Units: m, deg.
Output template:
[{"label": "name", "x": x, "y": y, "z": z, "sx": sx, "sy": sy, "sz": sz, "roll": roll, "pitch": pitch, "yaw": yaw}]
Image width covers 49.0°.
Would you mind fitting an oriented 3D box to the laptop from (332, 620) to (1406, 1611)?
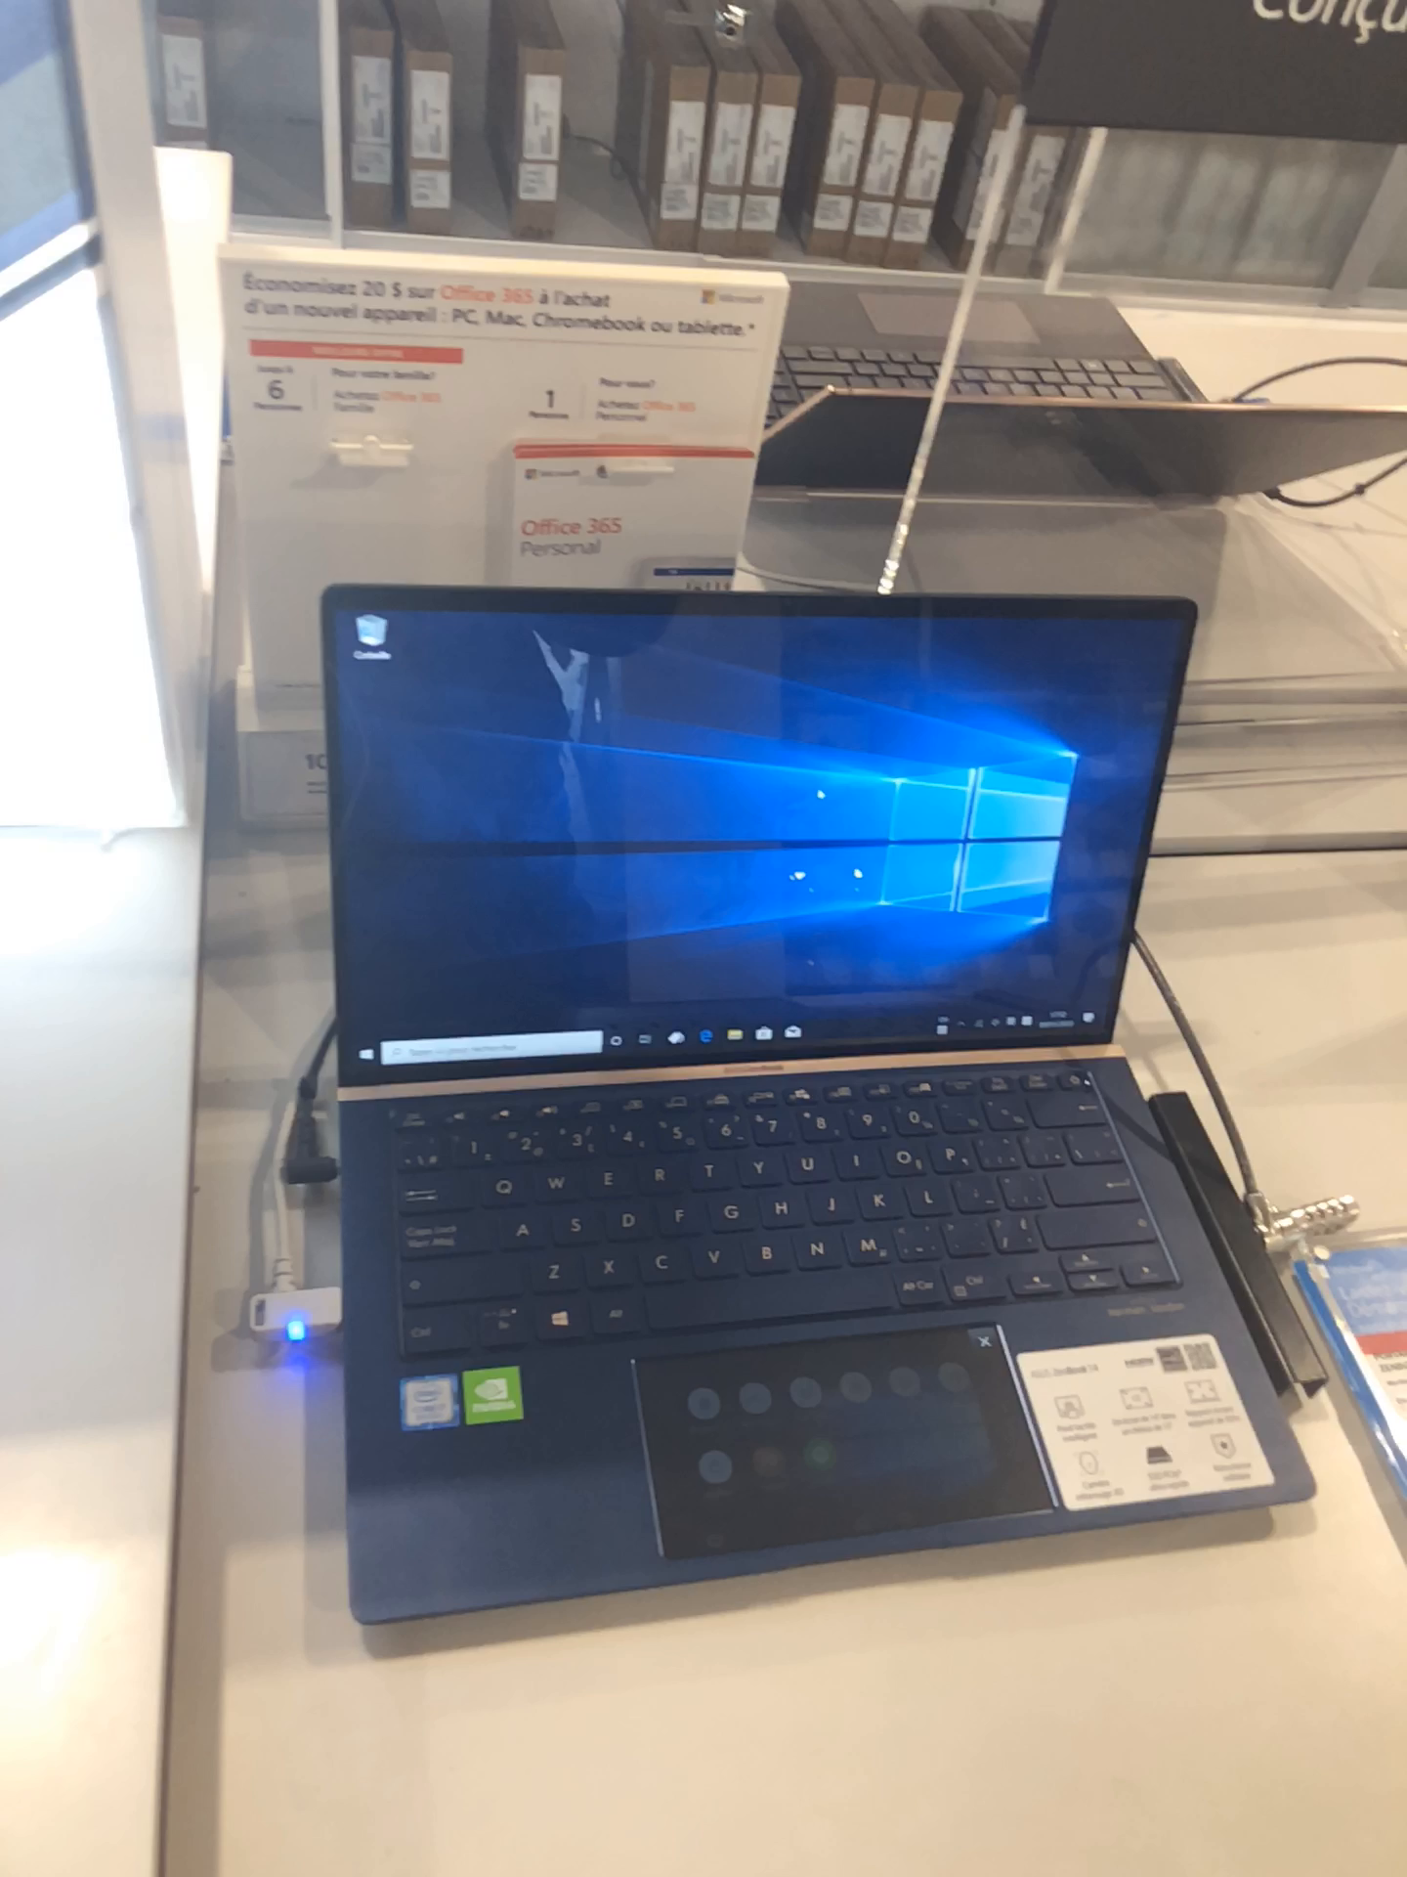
[{"label": "laptop", "x": 0.042, "y": 0.041, "z": 0.506, "sx": 0.309, "sy": 0.179, "sz": 0.254, "roll": -2, "pitch": 45, "yaw": -13}]
